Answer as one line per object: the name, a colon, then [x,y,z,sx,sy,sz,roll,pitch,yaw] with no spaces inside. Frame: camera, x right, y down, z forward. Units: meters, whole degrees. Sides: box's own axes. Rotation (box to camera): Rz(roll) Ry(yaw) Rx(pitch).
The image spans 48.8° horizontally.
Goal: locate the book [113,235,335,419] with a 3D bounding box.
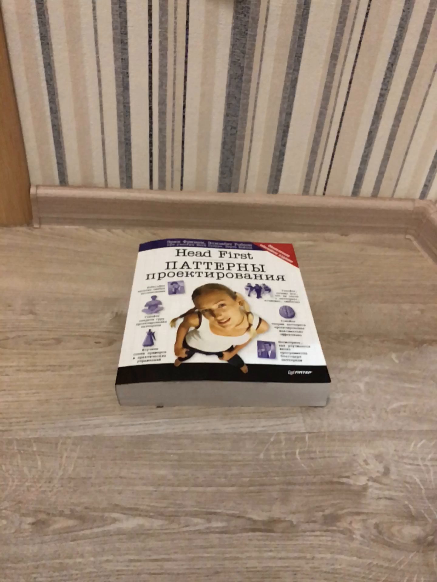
book: [0.000,0.029,0.552,0.206,0.049,0.242,2,40,-5]
